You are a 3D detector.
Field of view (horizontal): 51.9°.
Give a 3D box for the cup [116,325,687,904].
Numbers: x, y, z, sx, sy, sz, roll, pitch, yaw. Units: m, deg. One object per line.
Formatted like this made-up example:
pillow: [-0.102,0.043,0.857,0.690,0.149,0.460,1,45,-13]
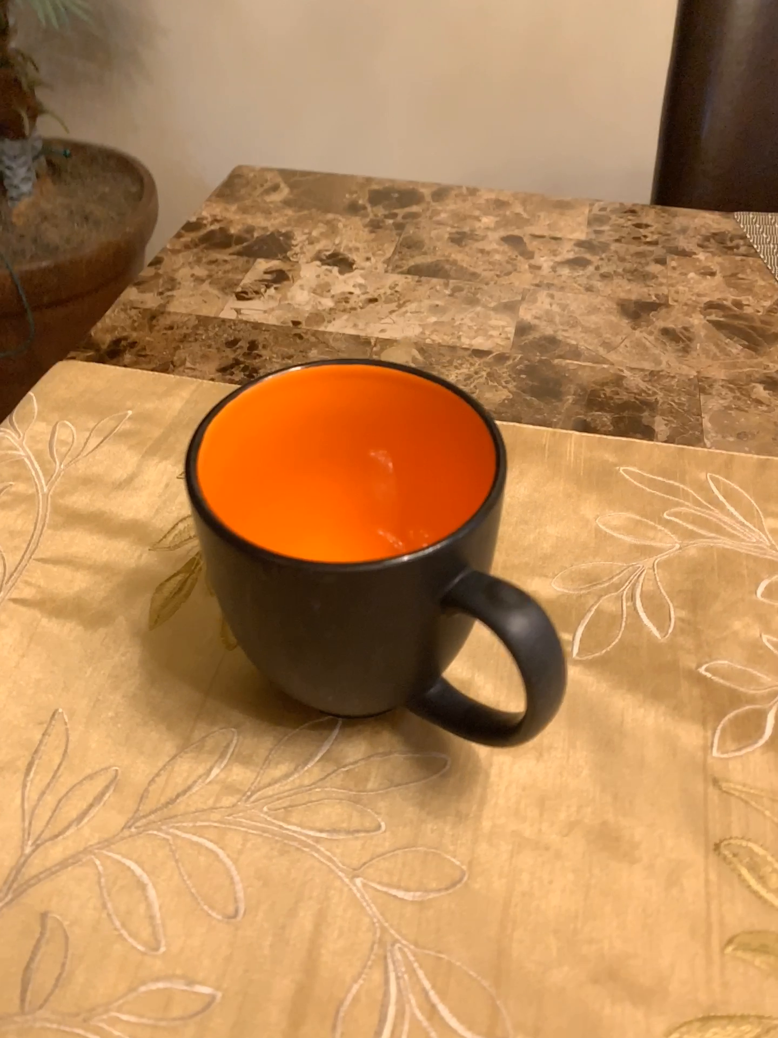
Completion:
cup: [-0.001,0.020,0.257,0.100,0.087,0.133,-31,53,-28]
